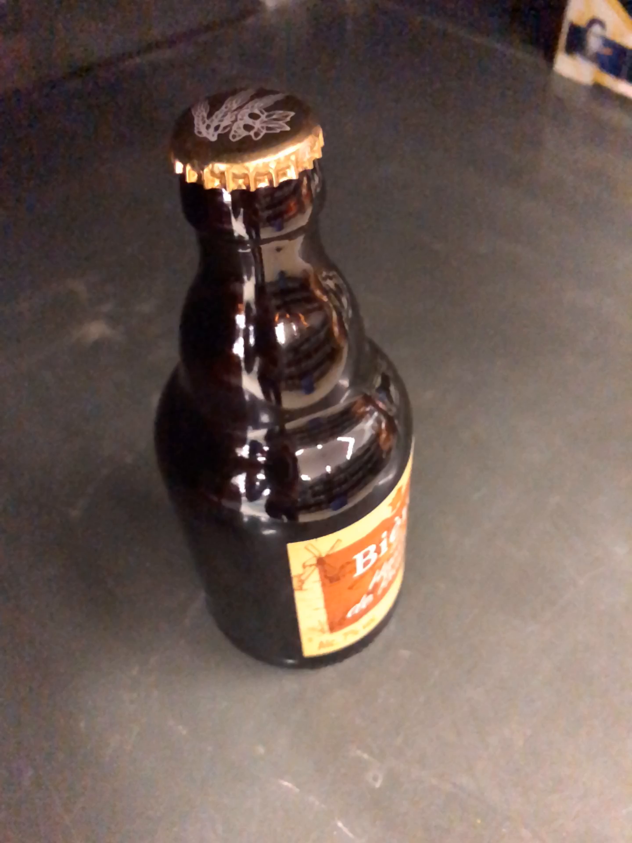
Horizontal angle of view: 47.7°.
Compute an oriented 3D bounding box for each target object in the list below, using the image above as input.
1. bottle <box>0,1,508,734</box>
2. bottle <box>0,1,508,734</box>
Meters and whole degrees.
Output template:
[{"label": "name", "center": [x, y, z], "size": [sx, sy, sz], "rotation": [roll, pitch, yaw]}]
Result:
[{"label": "bottle", "center": [-0.009, 0.003, 0.192], "size": [0.070, 0.179, 0.070], "rotation": [-2, 49, 3]}, {"label": "bottle", "center": [-0.009, 0.003, 0.192], "size": [0.070, 0.179, 0.070], "rotation": [-2, 49, 3]}]
